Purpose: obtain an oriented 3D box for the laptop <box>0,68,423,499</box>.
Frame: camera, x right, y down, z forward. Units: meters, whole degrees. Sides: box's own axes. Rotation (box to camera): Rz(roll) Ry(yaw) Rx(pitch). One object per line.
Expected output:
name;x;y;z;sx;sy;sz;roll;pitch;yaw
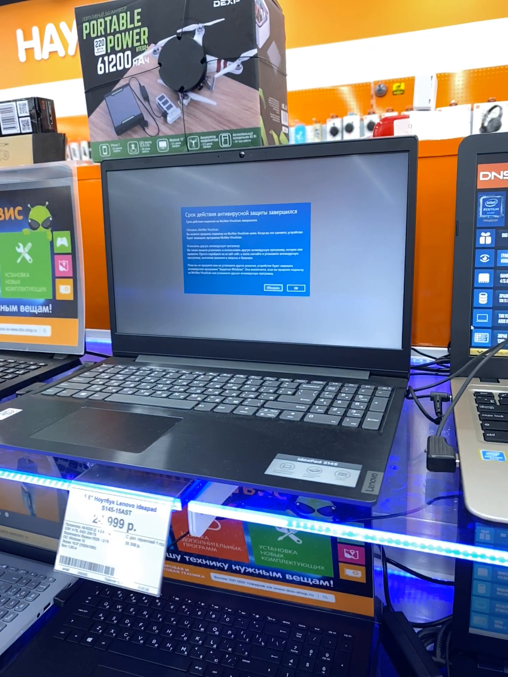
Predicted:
laptop;-0.047;-0.058;0.478;0.361;0.240;0.273;2;13;21
